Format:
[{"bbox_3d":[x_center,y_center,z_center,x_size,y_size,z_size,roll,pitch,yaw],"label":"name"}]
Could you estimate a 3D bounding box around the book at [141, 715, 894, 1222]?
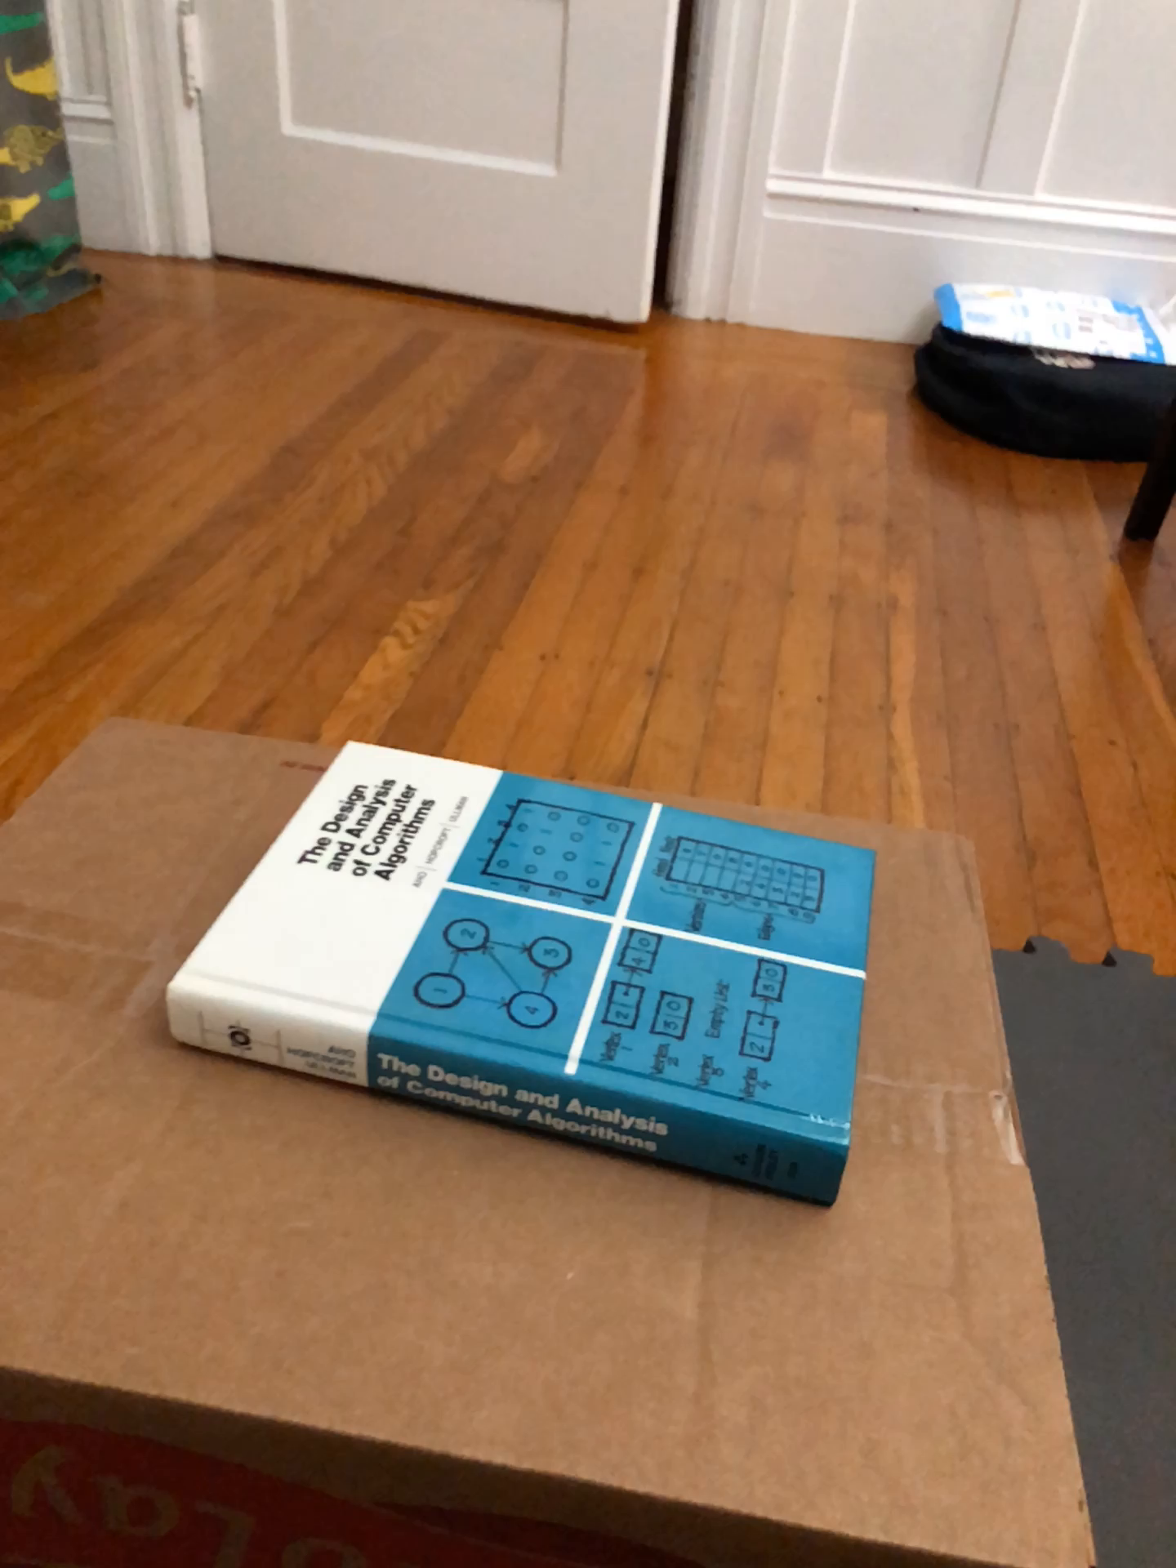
[{"bbox_3d":[-0.013,0.059,0.535,0.260,0.040,0.191,11,34,9],"label":"book"}]
